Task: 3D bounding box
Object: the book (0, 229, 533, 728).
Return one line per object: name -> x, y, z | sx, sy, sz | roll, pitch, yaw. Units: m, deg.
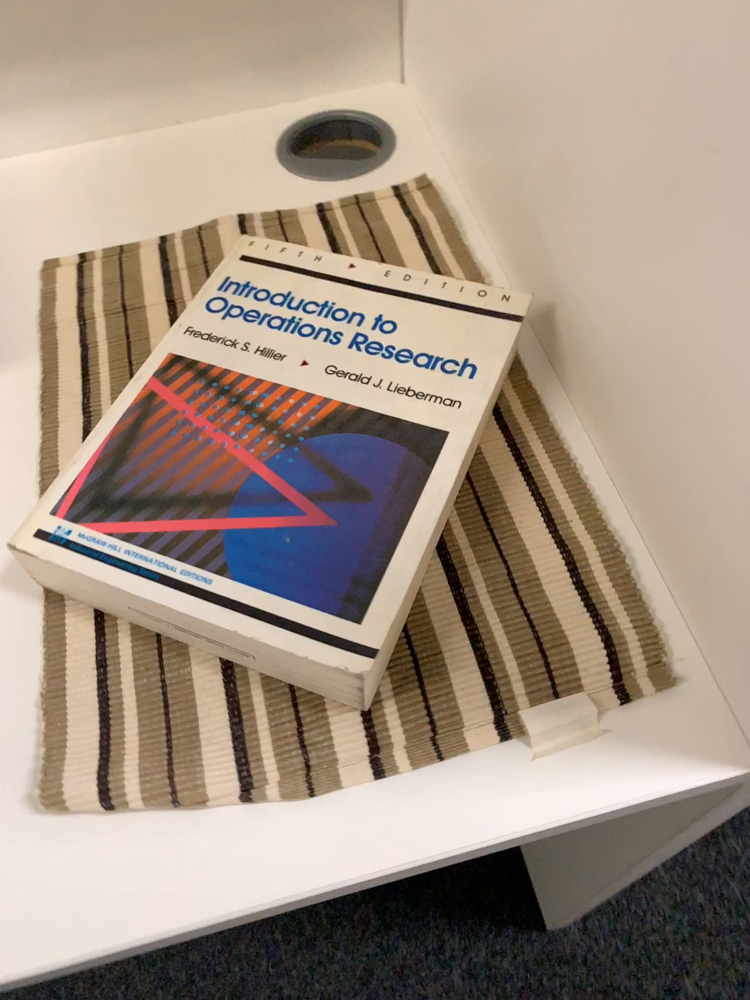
book -> -0.047, -0.032, 0.408 | 0.196, 0.052, 0.235 | 17, 58, 16
